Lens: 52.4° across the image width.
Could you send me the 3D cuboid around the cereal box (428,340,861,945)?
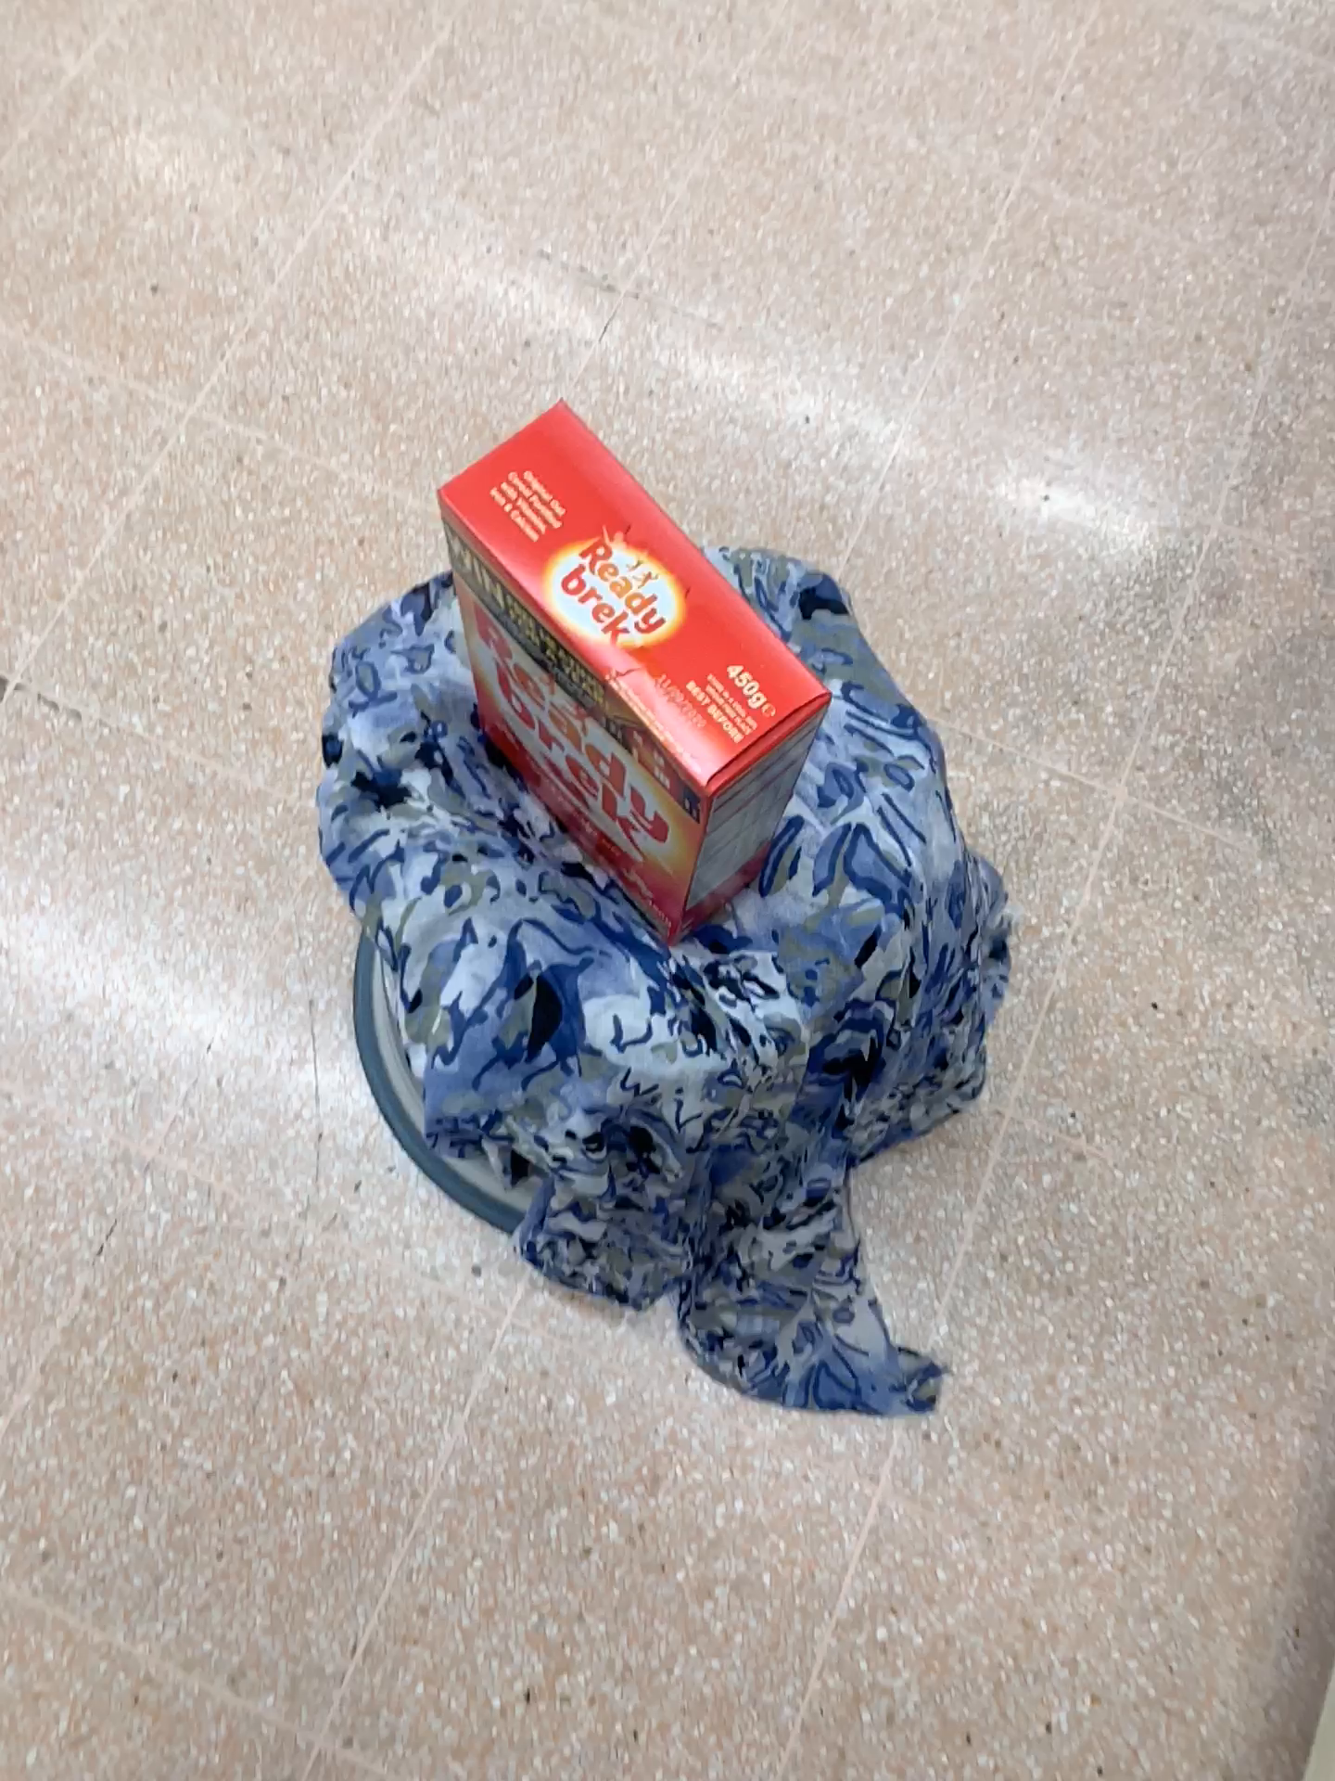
[{"bbox_3d":[-0.016,-0.089,0.597,0.060,0.239,0.170,-38,79,-13],"label":"cereal box"}]
